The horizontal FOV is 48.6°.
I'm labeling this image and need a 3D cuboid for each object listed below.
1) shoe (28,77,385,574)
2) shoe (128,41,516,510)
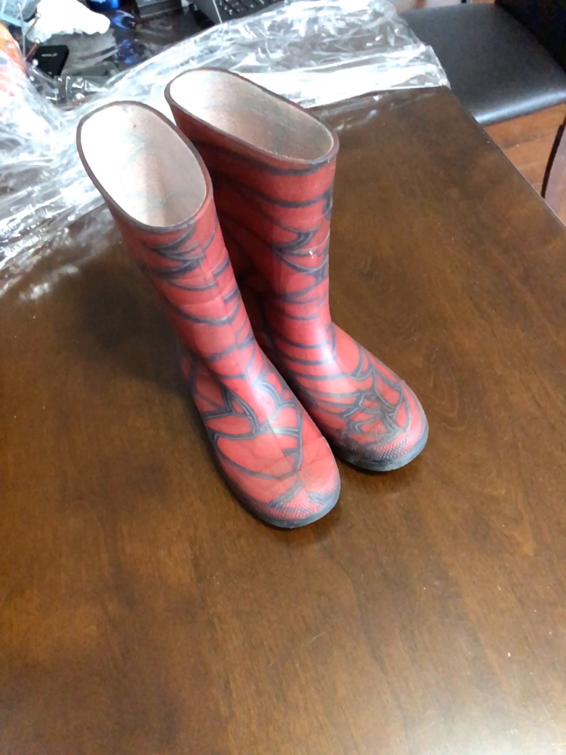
[{"bbox_3d":[-0.042,-0.022,0.410,0.080,0.239,0.220,-31,58,-15],"label":"shoe"},{"bbox_3d":[0.018,-0.058,0.432,0.080,0.239,0.220,-36,60,-18],"label":"shoe"}]
